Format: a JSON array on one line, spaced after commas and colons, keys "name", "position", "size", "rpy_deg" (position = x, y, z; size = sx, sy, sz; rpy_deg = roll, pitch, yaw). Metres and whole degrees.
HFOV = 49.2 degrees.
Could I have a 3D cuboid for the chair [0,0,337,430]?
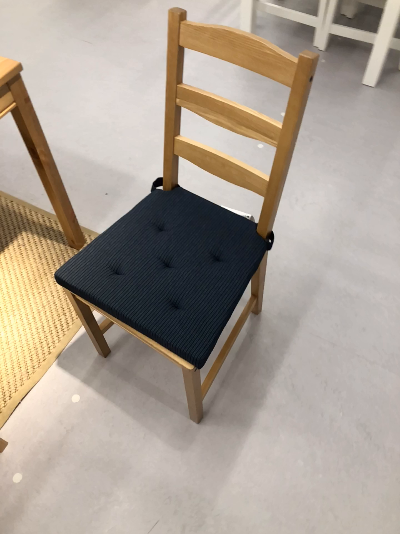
[{"name": "chair", "position": [-0.067, -0.056, 1.089], "size": [0.441, 0.866, 0.521], "rpy_deg": [27, 61, 19]}]
